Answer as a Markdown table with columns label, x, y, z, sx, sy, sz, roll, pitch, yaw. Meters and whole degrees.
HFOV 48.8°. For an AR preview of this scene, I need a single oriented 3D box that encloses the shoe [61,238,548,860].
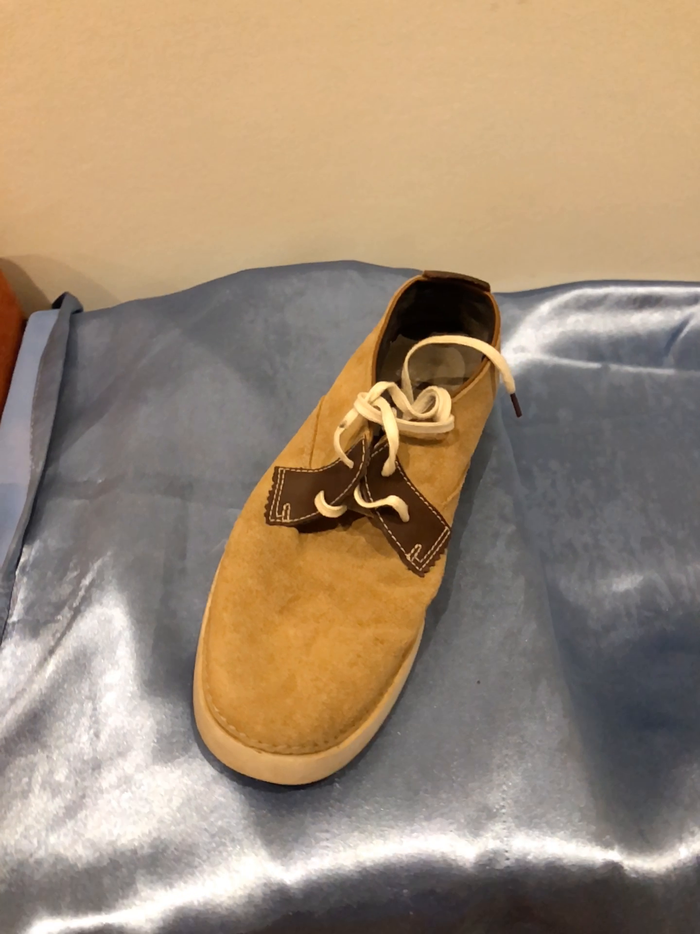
| label | x | y | z | sx | sy | sz | roll | pitch | yaw |
| --- | --- | --- | --- | --- | --- | --- | --- | --- | --- |
| shoe | 0.001 | 0.024 | 0.423 | 0.120 | 0.119 | 0.302 | 18 | 55 | 15 |
